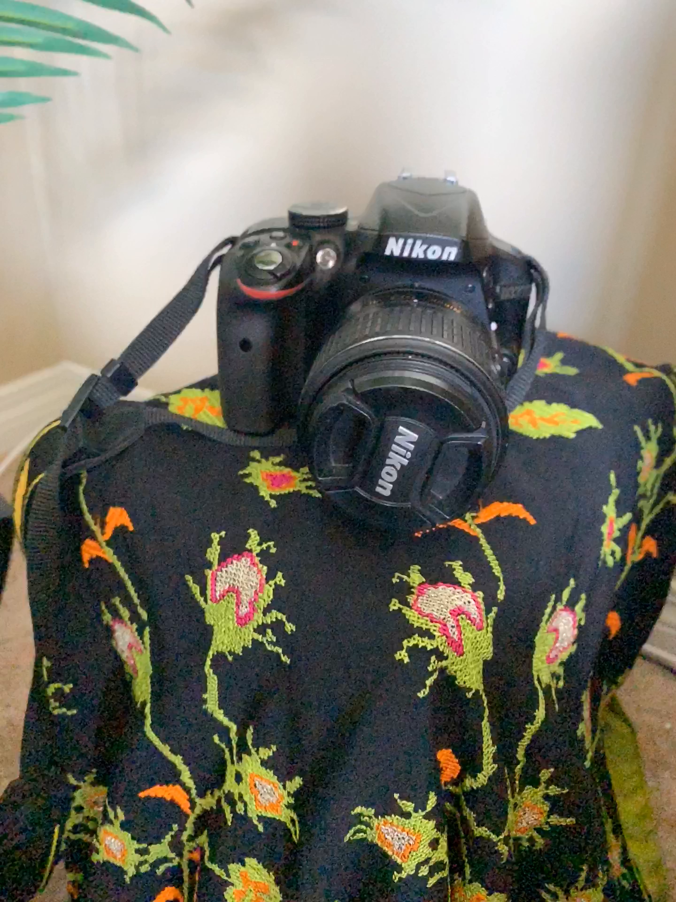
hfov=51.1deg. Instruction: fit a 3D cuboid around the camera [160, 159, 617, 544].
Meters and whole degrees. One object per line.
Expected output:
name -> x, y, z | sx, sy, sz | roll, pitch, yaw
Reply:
camera -> 0.014, -0.040, 0.249 | 0.120, 0.099, 0.091 | 5, 30, 3
